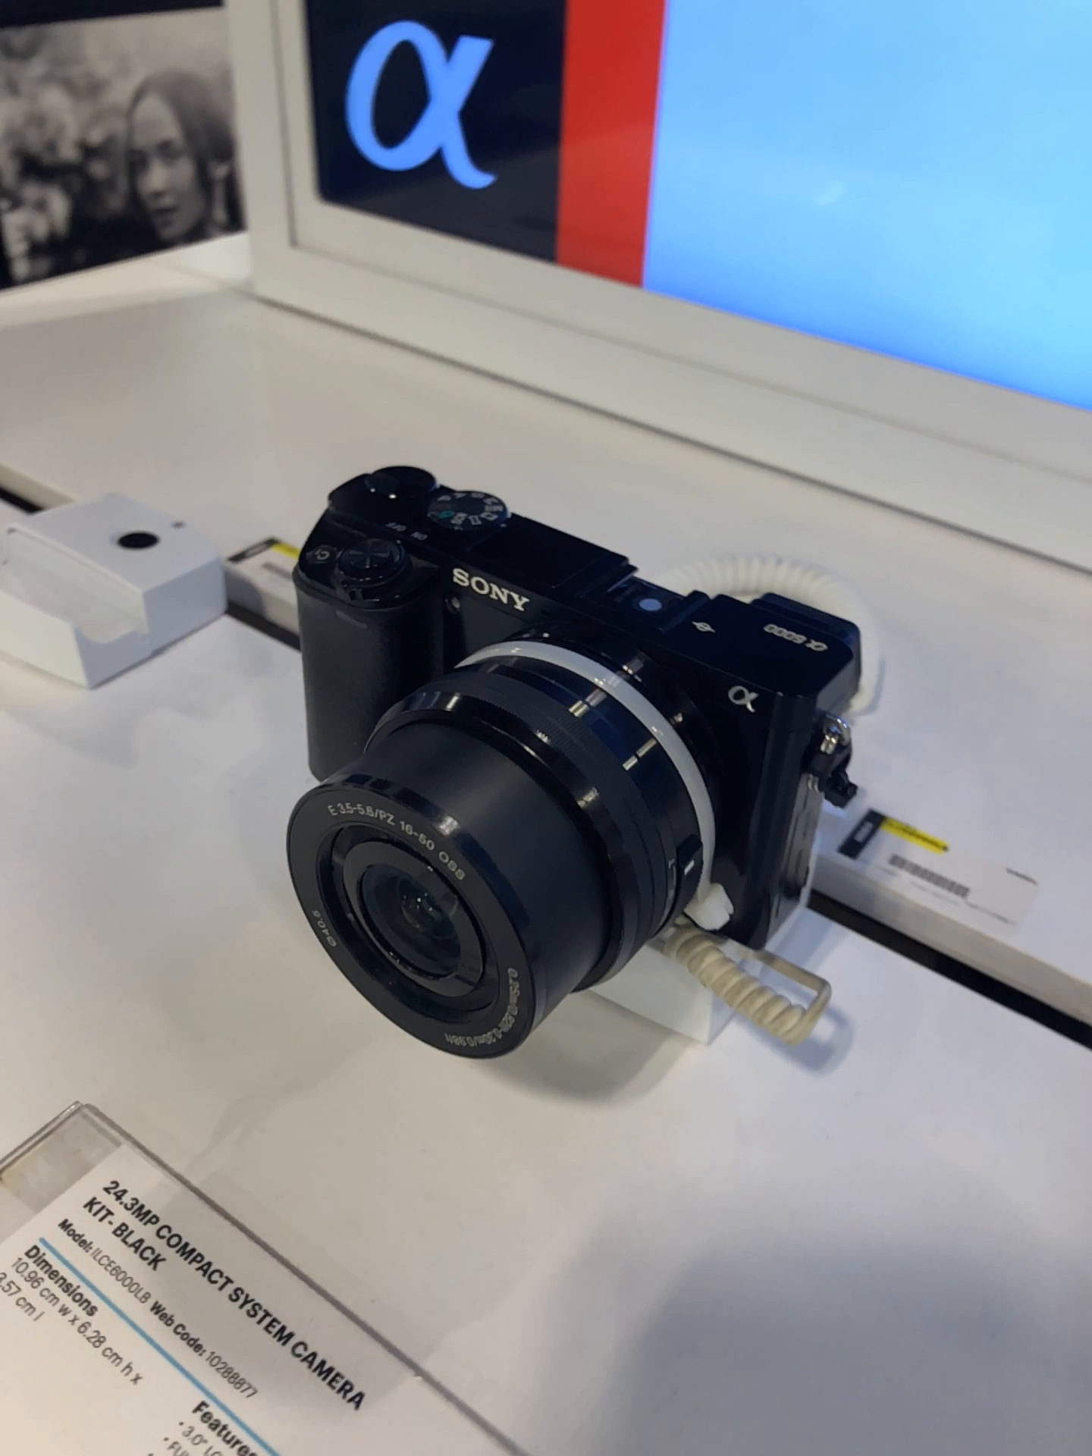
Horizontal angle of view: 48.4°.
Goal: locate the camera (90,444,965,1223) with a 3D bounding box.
[{"bbox_3d":[-0.003,0.008,0.248,0.130,0.070,0.100,24,42,26],"label":"camera"}]
